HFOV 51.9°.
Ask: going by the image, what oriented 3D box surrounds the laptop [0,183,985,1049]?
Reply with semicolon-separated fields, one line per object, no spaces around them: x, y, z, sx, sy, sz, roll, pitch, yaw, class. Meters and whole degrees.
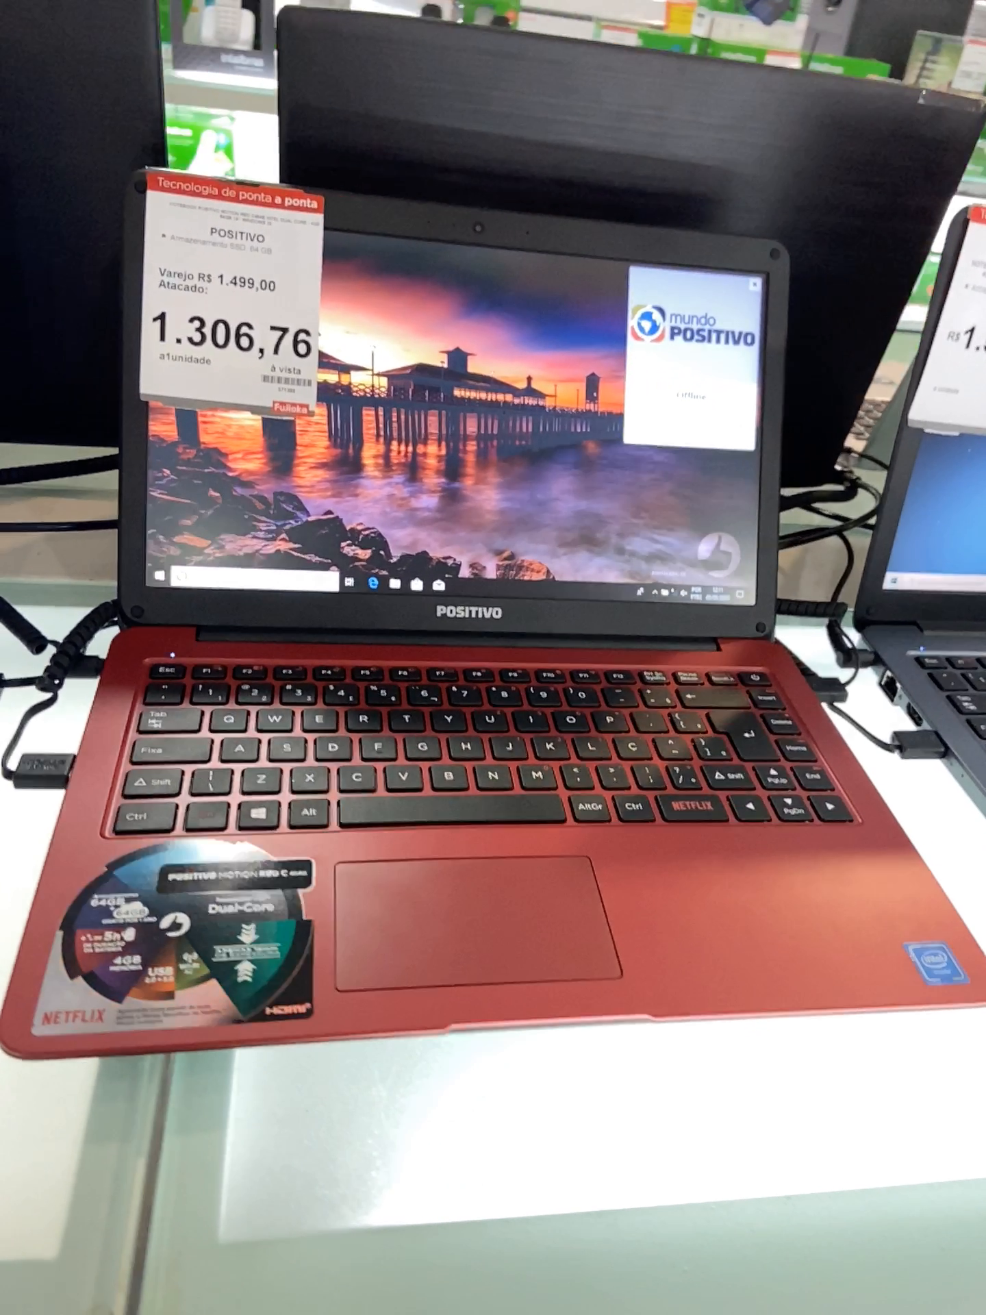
0.006;-0.051;0.407;0.320;0.167;0.335;1;35;-11;laptop
